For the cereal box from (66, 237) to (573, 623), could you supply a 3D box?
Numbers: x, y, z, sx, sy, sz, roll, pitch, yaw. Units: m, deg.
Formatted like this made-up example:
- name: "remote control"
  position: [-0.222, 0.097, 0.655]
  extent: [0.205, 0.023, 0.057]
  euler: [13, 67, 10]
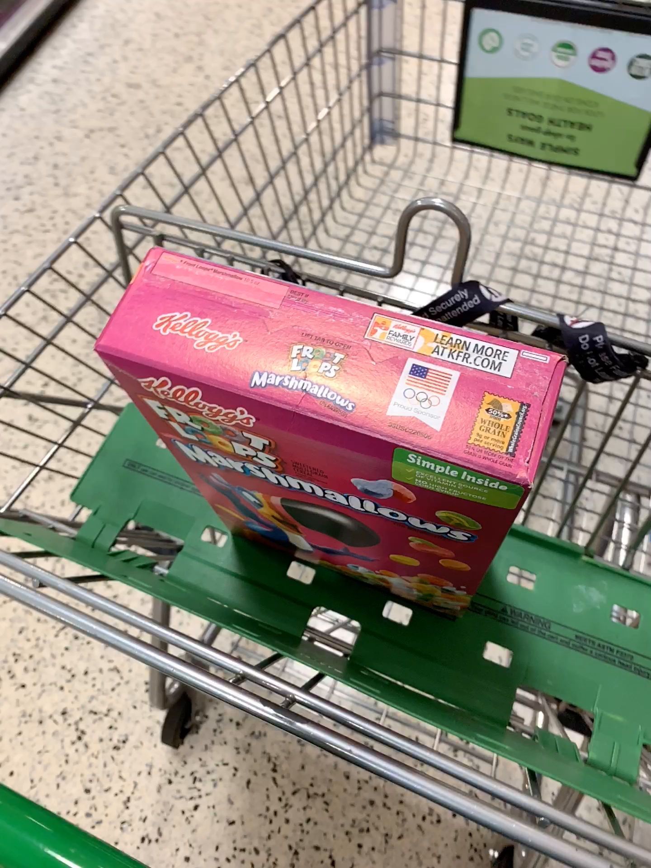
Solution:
- name: "cereal box"
  position: [0.007, 0.025, 0.406]
  extent: [0.200, 0.288, 0.060]
  euler: [18, 69, 14]
